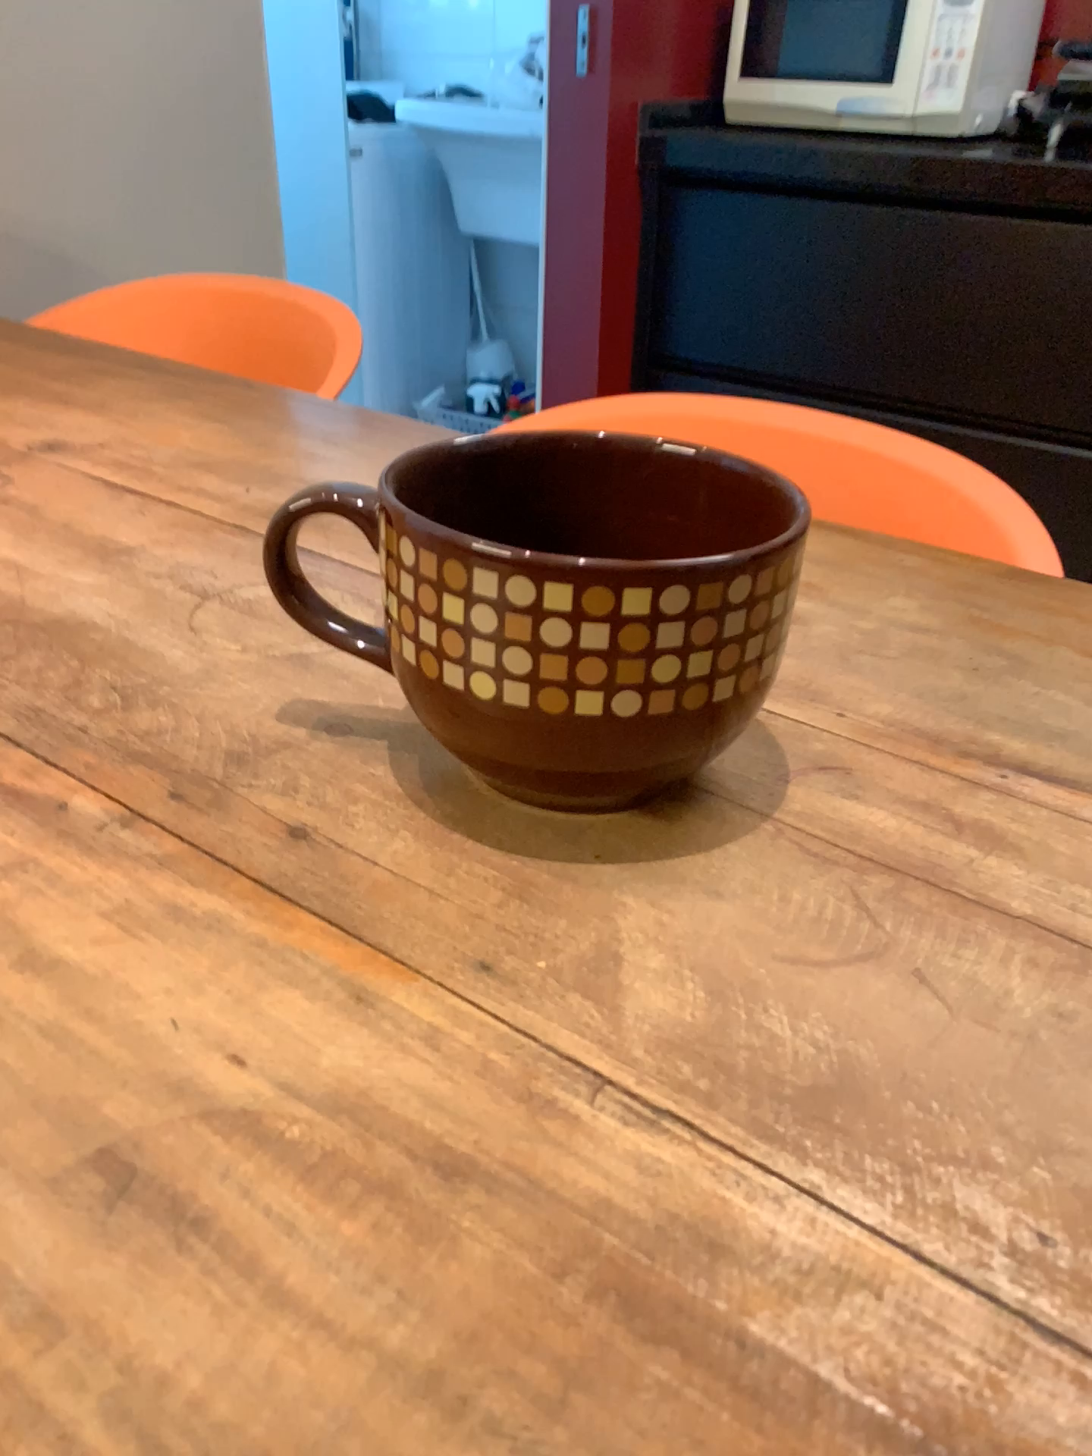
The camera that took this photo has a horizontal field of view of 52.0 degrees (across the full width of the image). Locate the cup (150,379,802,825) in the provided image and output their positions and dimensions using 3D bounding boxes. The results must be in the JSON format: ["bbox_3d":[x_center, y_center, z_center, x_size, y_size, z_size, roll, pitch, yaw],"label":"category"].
[{"bbox_3d":[-0.013,-0.053,0.387,0.180,0.090,0.141,5,31,6],"label":"cup"}]
